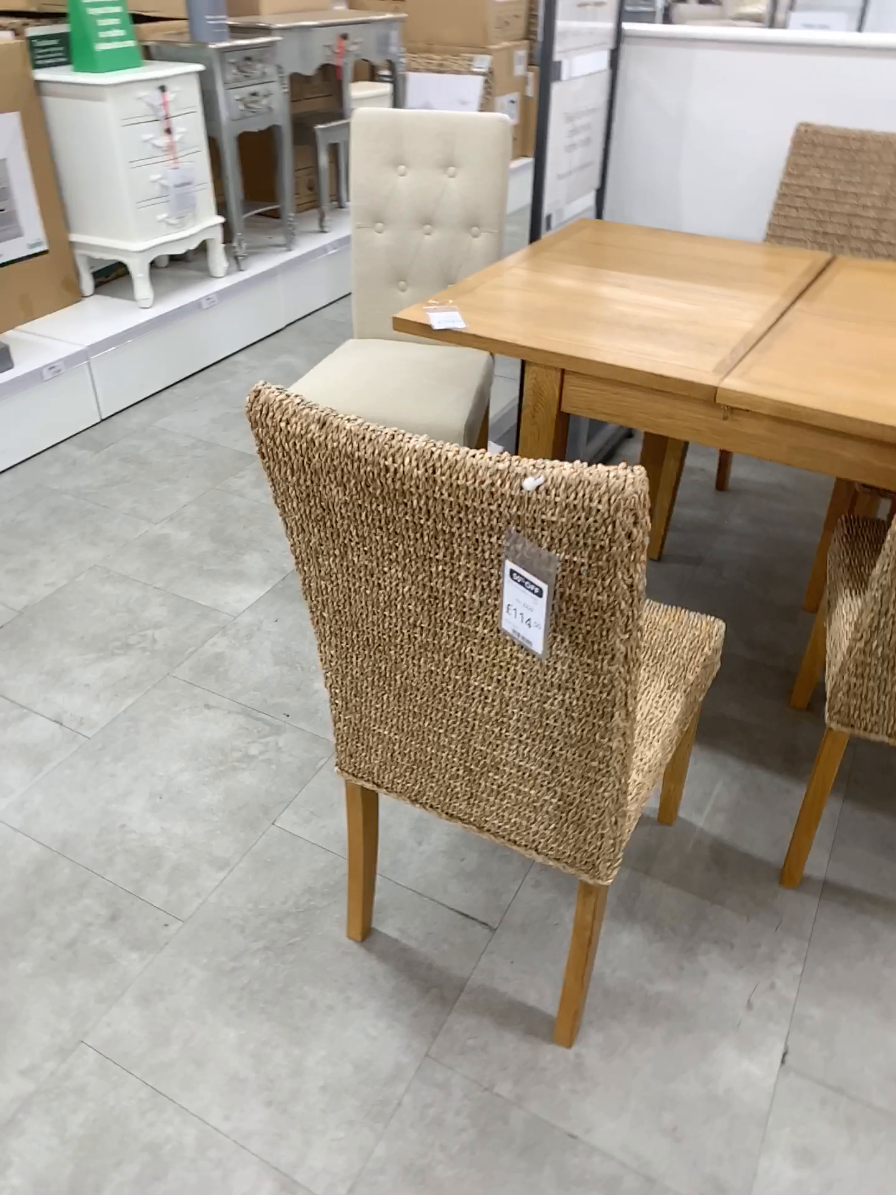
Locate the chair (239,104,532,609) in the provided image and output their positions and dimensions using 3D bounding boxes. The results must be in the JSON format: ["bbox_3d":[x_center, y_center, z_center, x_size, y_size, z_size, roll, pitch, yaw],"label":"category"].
[{"bbox_3d":[-0.098,-0.524,1.995,0.398,0.903,0.517,11,37,14],"label":"chair"}]

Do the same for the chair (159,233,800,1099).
[{"bbox_3d":[0.070,0.074,1.234,0.488,0.903,0.567,17,38,22],"label":"chair"}]

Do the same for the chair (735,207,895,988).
[{"bbox_3d":[0.757,-0.008,1.318,0.438,0.893,0.557,13,37,17],"label":"chair"}]
